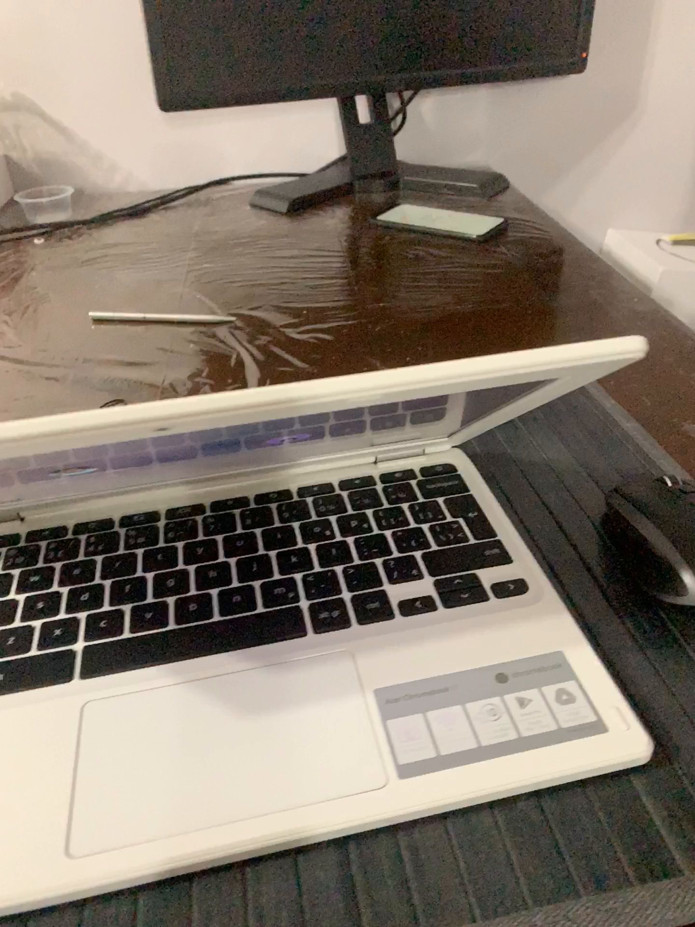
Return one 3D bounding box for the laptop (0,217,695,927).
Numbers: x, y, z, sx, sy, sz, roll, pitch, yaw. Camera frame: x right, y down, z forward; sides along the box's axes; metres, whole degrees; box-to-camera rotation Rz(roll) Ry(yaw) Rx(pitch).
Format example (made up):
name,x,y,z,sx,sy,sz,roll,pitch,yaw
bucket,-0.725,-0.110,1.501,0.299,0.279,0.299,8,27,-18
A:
name,x,y,z,sx,sy,sz,roll,pitch,yaw
laptop,-0.057,0.013,0.257,0.280,0.124,0.182,-9,35,-9
